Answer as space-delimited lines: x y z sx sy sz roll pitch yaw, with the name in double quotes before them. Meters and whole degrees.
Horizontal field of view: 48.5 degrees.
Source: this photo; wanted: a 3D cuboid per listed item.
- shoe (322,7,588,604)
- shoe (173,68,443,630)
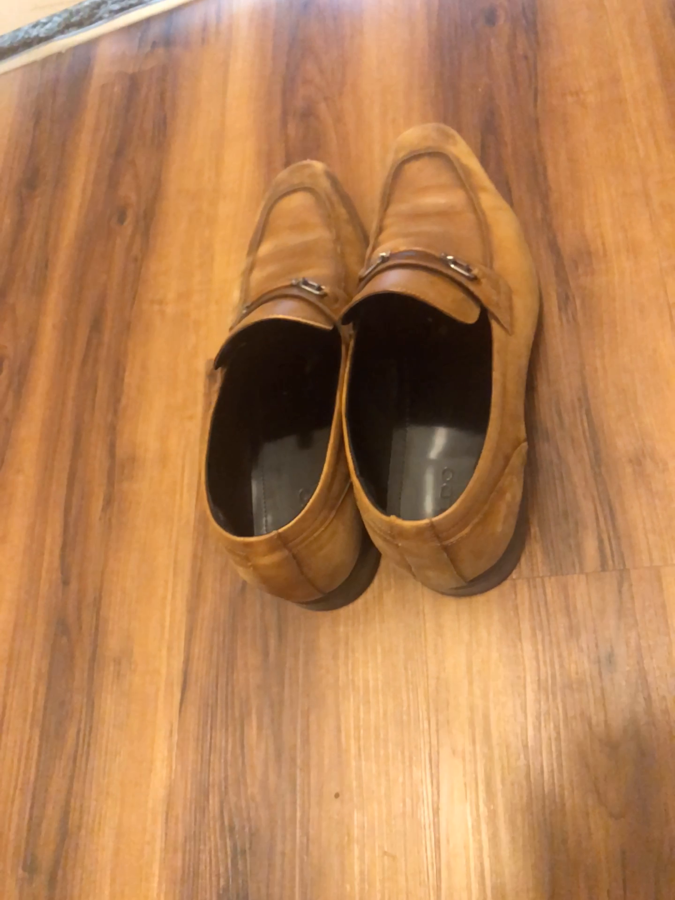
"shoe" 0.065 -0.080 0.427 0.107 0.112 0.308 -8 65 20
"shoe" -0.019 -0.062 0.456 0.107 0.112 0.308 -12 64 18
